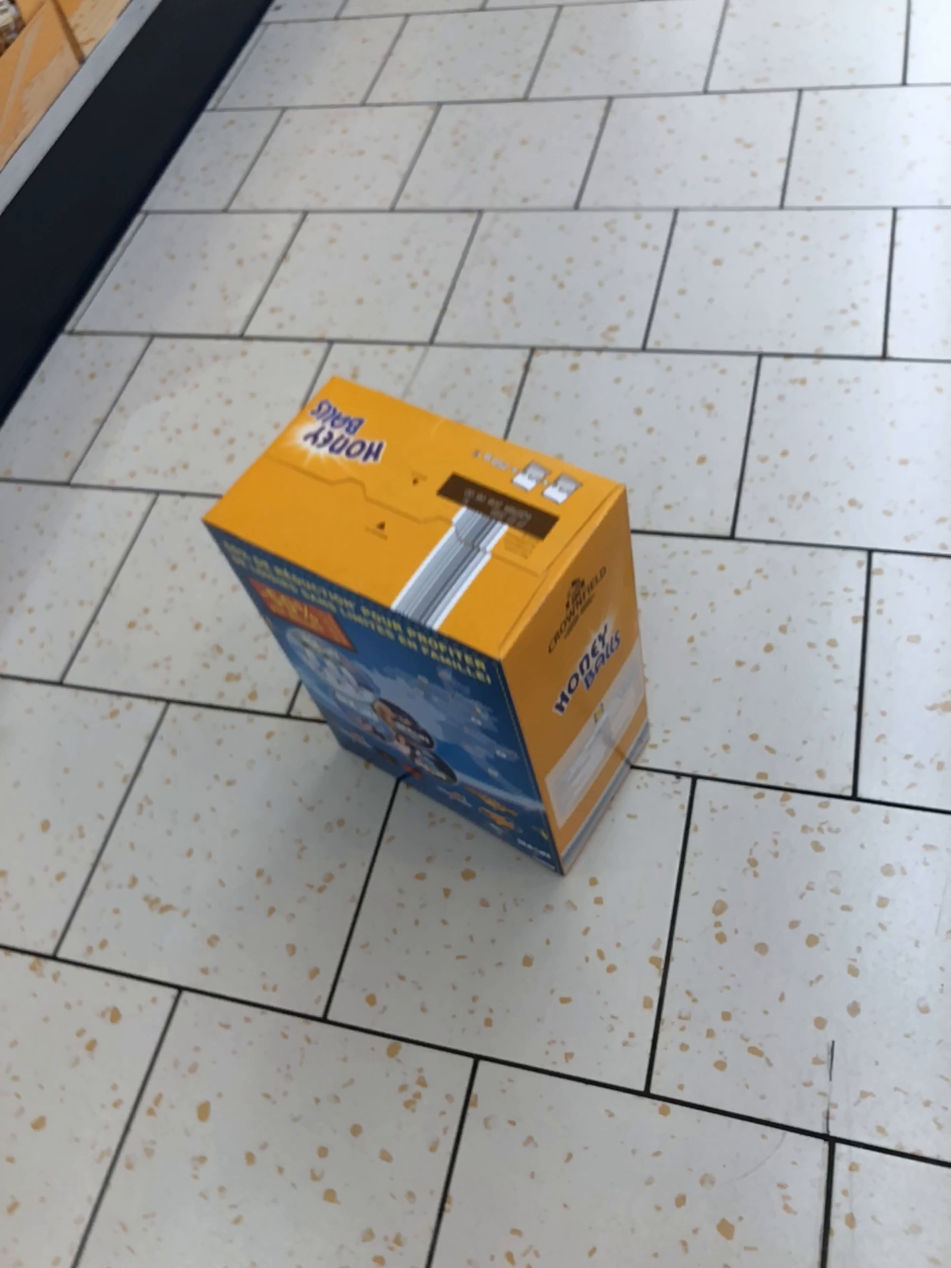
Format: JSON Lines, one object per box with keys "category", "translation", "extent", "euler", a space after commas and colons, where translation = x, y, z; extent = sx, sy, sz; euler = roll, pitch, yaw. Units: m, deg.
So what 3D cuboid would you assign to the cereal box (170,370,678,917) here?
{"category": "cereal box", "translation": [-0.010, 0.014, 0.618], "extent": [0.210, 0.259, 0.131], "euler": [25, 65, 27]}
